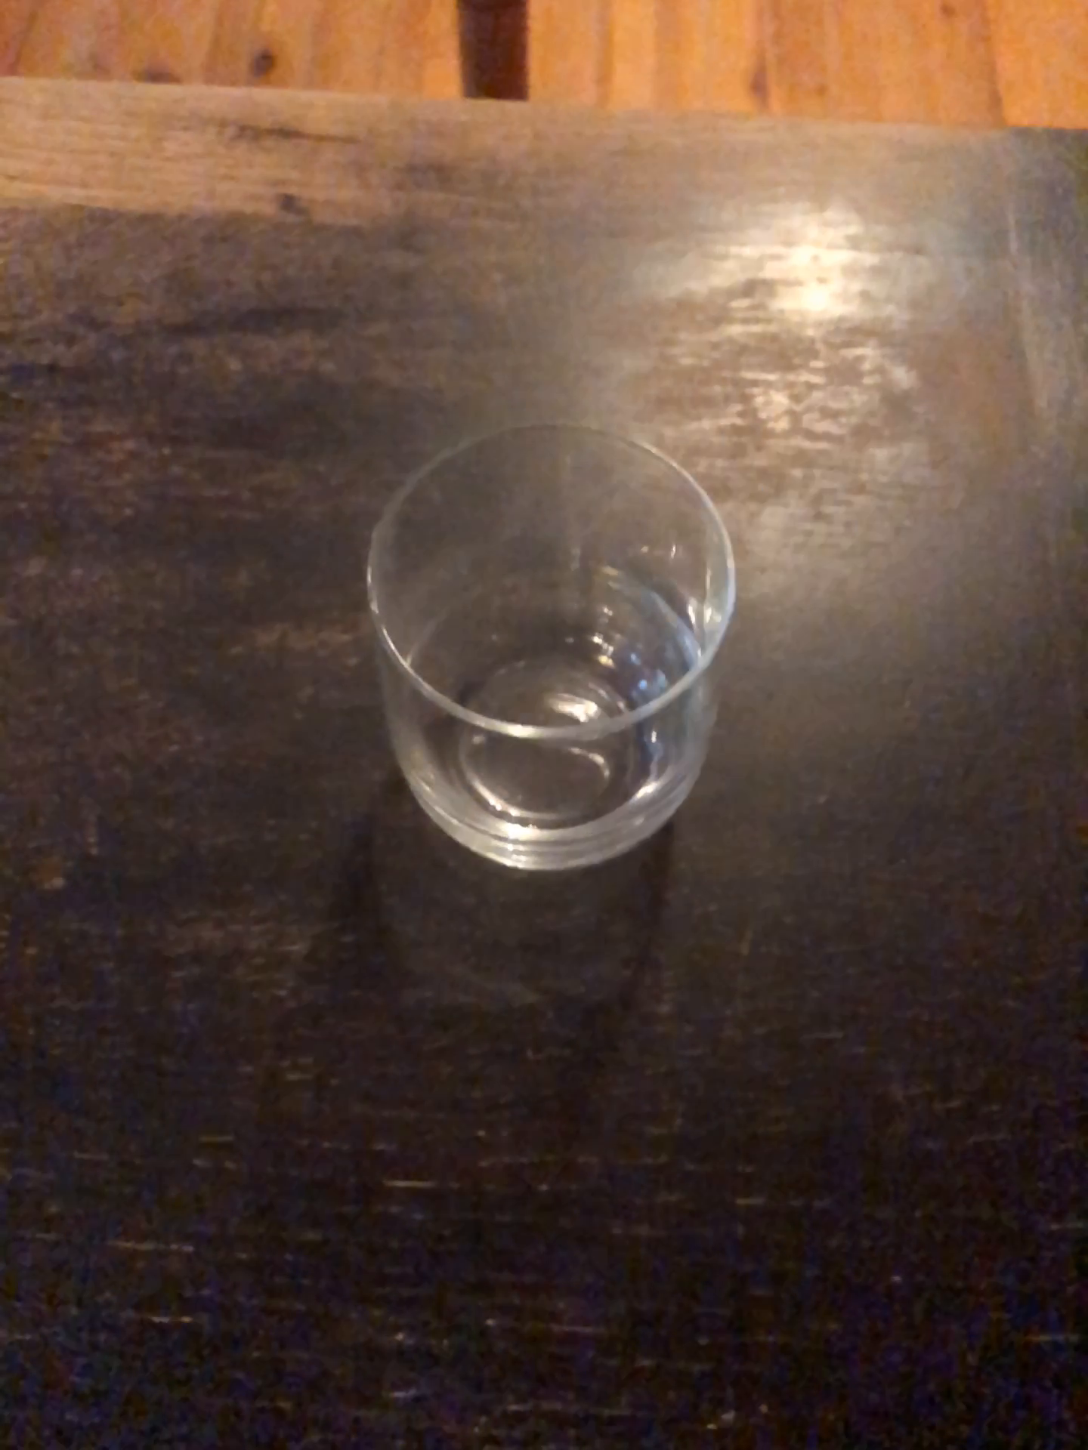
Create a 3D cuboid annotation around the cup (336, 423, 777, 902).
[{"bbox_3d":[0.000,-0.009,0.266,0.077,0.084,0.071,0,65,-1],"label":"cup"}]
